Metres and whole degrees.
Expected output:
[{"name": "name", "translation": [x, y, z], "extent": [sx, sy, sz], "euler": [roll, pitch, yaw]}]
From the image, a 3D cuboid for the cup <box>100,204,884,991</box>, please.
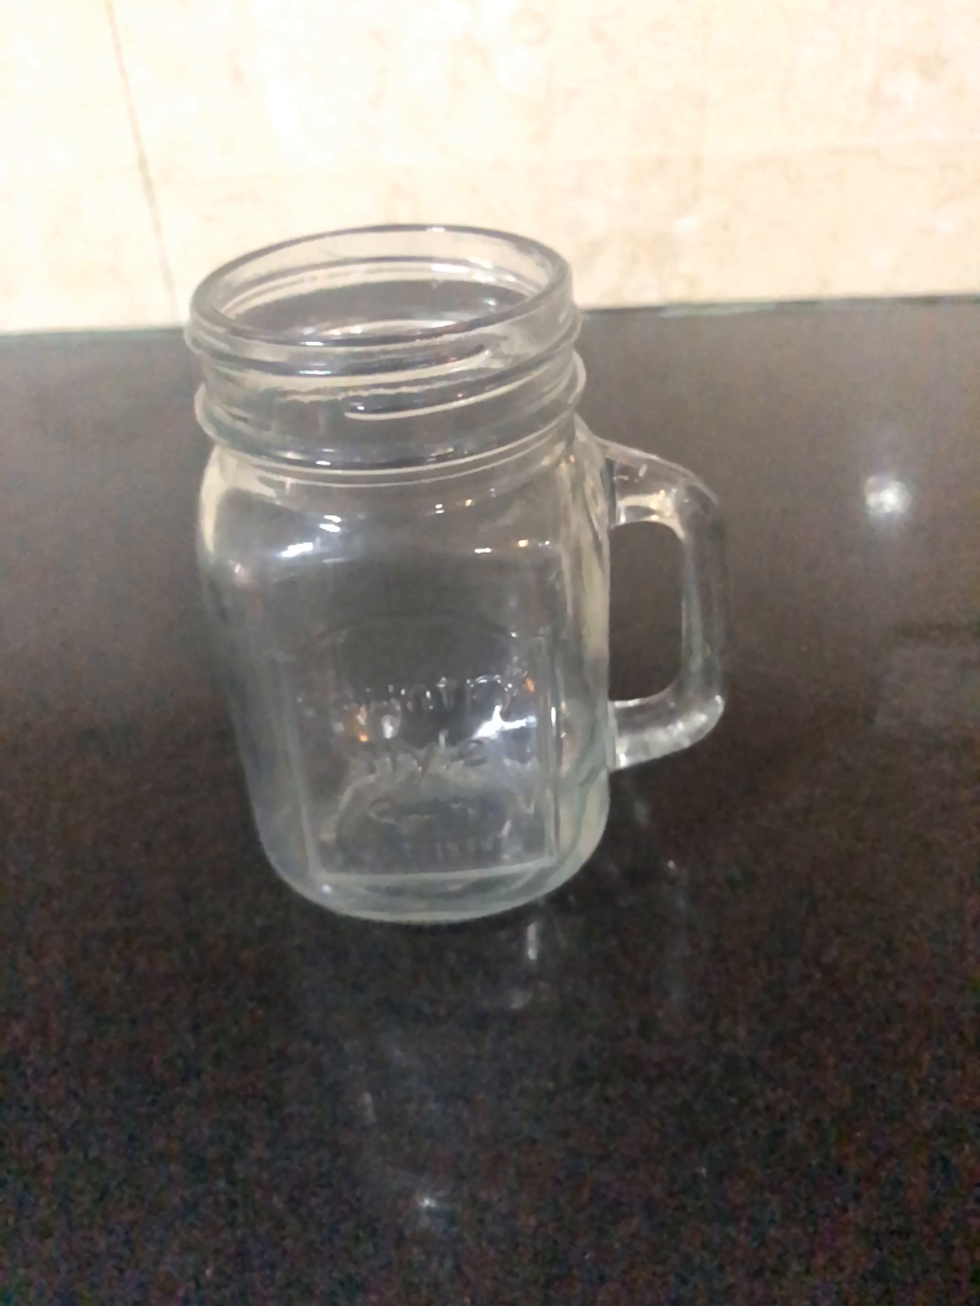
[{"name": "cup", "translation": [0.002, -0.010, 0.224], "extent": [0.110, 0.129, 0.081], "euler": [-4, 34, 0]}]
